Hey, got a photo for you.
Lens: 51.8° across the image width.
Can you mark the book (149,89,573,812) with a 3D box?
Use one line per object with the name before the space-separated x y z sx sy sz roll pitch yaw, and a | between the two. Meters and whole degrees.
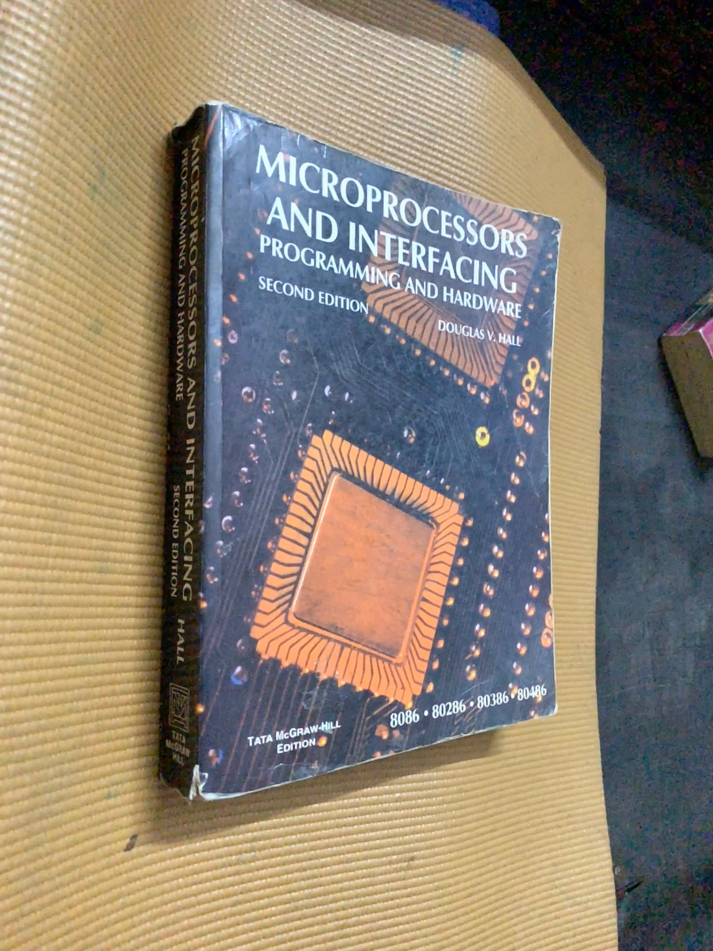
book | 0.019 -0.010 0.441 0.260 0.060 0.338 4 85 -35
